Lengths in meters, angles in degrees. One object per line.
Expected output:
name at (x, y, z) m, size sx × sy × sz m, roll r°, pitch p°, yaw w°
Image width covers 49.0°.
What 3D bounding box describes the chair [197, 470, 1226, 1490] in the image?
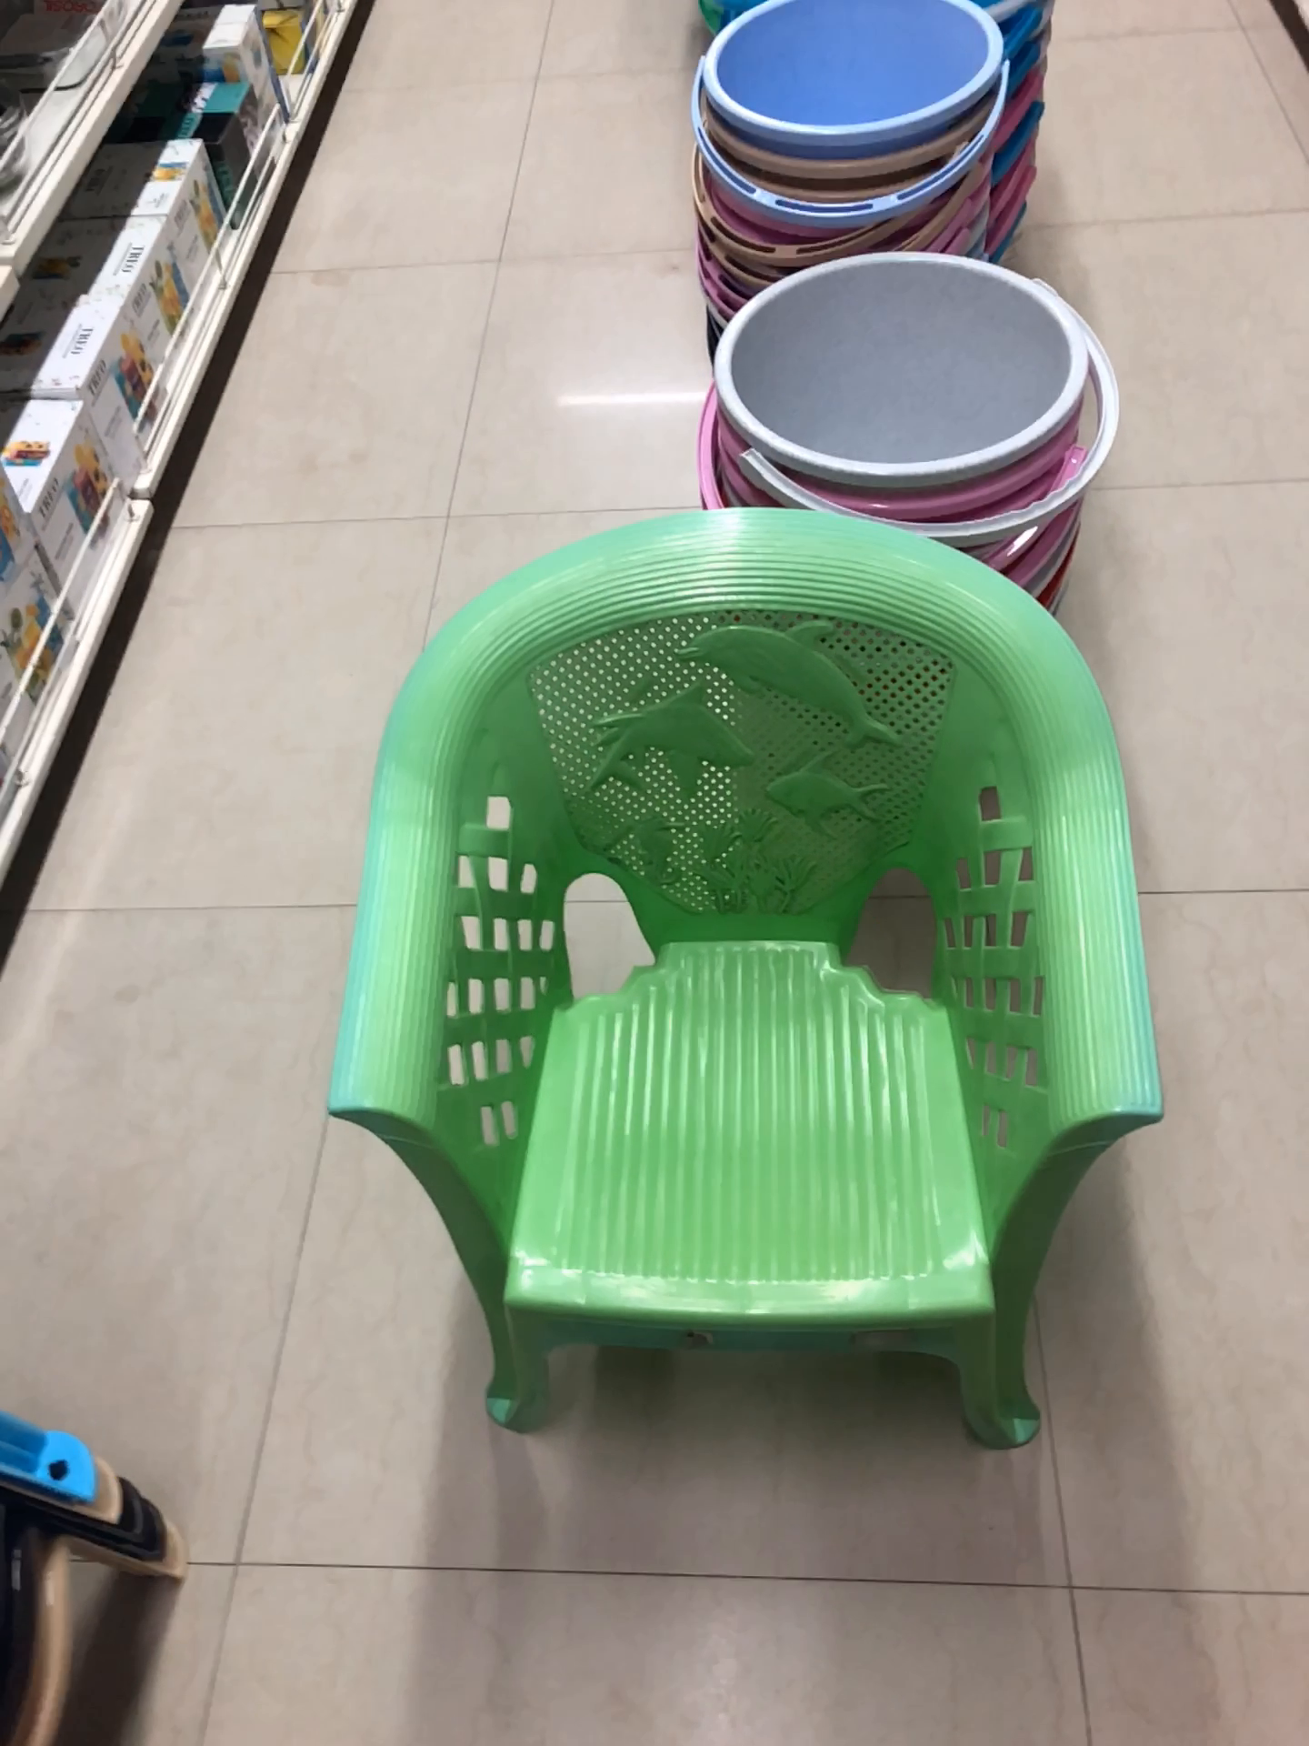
chair at (0.058, 0.061, 0.896) m, size 0.430 × 0.398 × 0.472 m, roll 2°, pitch 53°, yaw 8°
